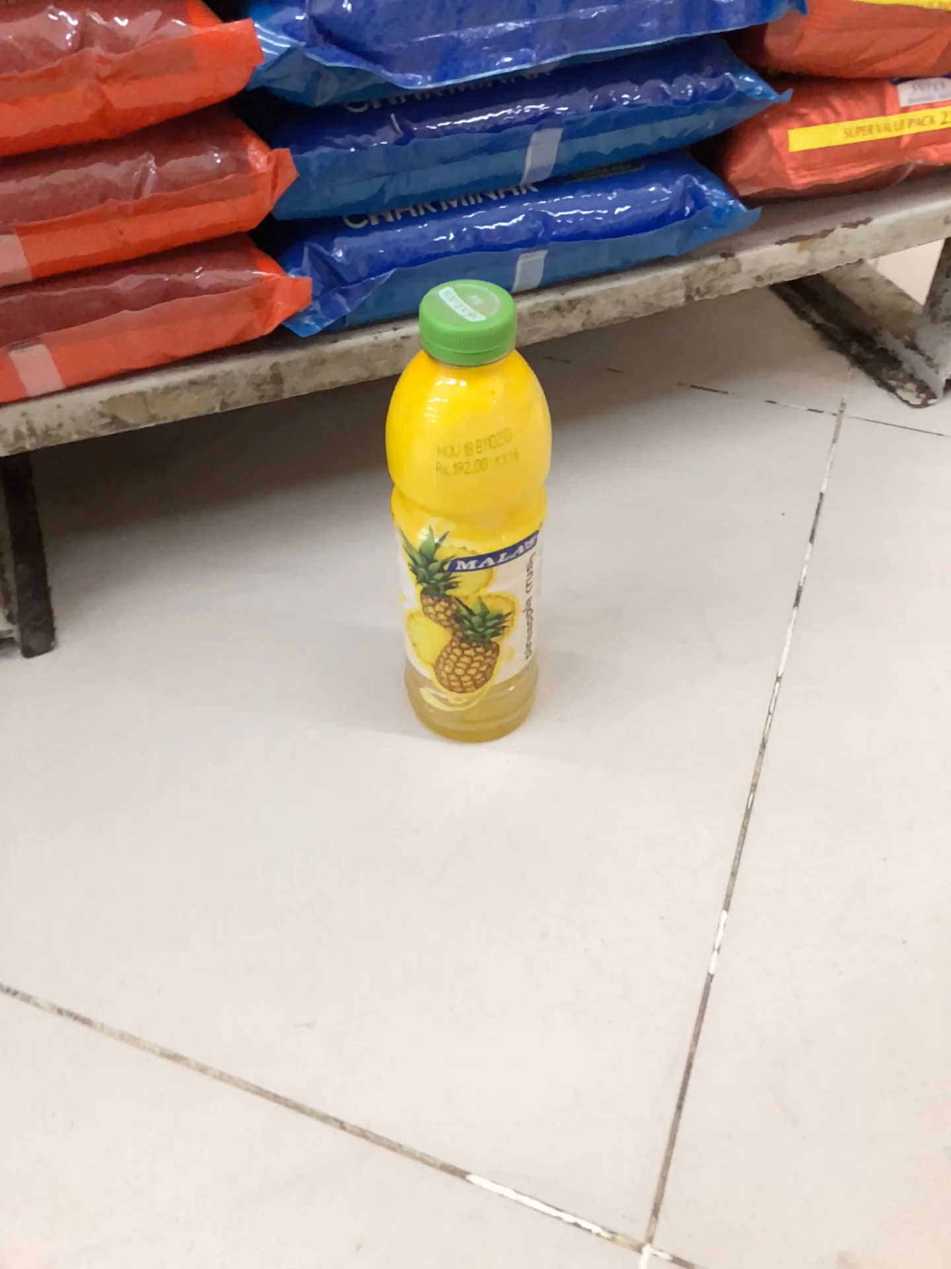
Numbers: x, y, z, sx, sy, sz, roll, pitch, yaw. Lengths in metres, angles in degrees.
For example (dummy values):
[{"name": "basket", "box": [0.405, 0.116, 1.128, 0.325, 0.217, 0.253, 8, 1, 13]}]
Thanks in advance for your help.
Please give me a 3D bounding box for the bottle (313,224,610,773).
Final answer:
[{"name": "bottle", "box": [-0.005, -0.053, 0.514, 0.090, 0.248, 0.090, -1, 48, 1]}]
